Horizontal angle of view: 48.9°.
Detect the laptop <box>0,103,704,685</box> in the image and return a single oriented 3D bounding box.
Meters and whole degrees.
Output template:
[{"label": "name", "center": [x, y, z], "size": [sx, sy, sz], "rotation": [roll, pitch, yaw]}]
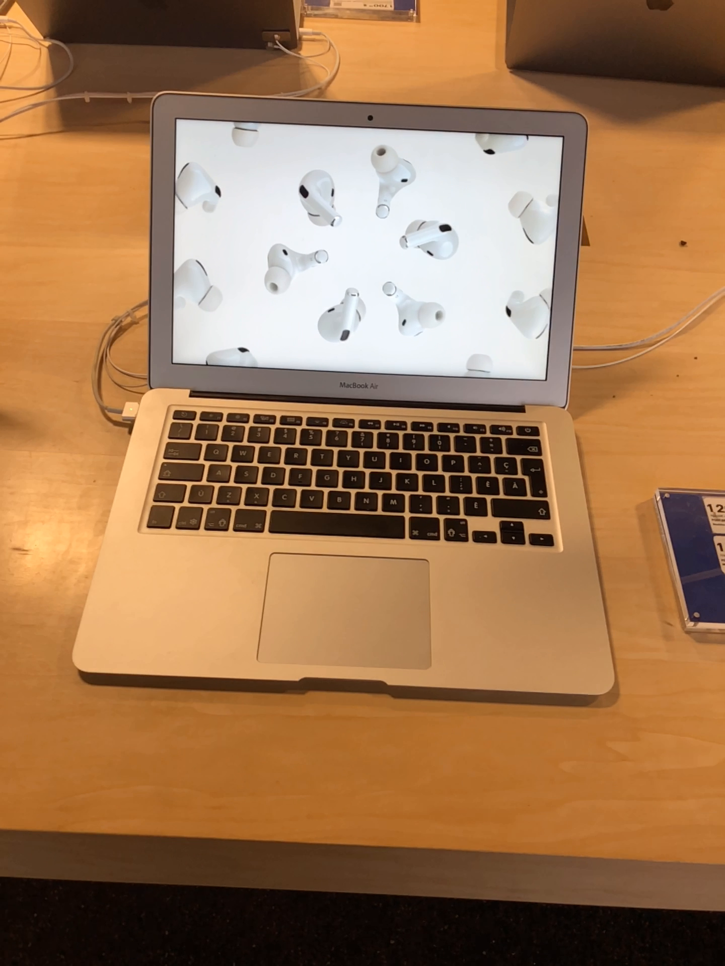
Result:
[{"label": "laptop", "center": [-0.003, -0.079, 0.522], "size": [0.311, 0.151, 0.372], "rotation": [3, 51, 0]}]
